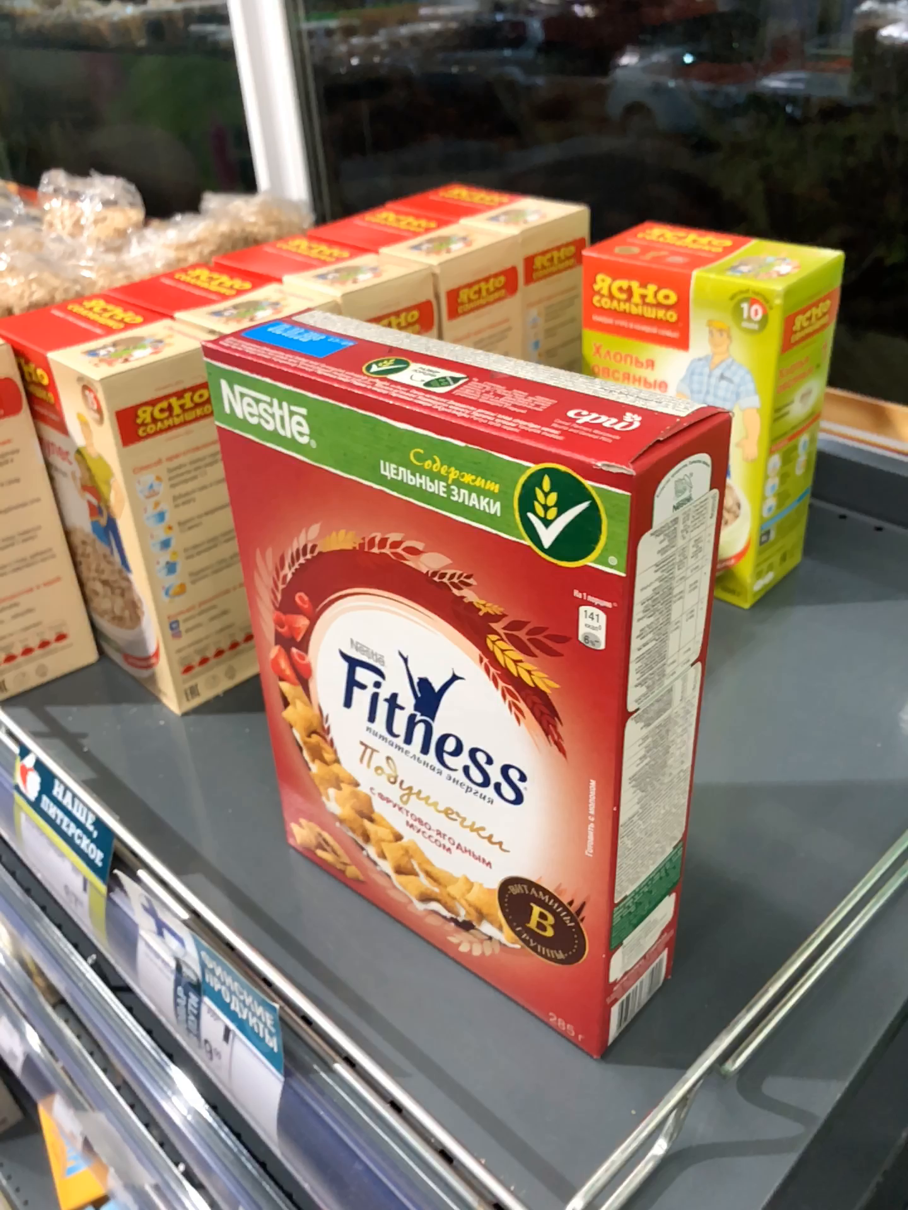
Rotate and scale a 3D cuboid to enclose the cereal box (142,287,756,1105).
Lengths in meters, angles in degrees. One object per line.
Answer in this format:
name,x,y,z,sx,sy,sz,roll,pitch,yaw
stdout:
cereal box,-0.008,0.031,0.368,0.191,0.248,0.060,23,40,34
